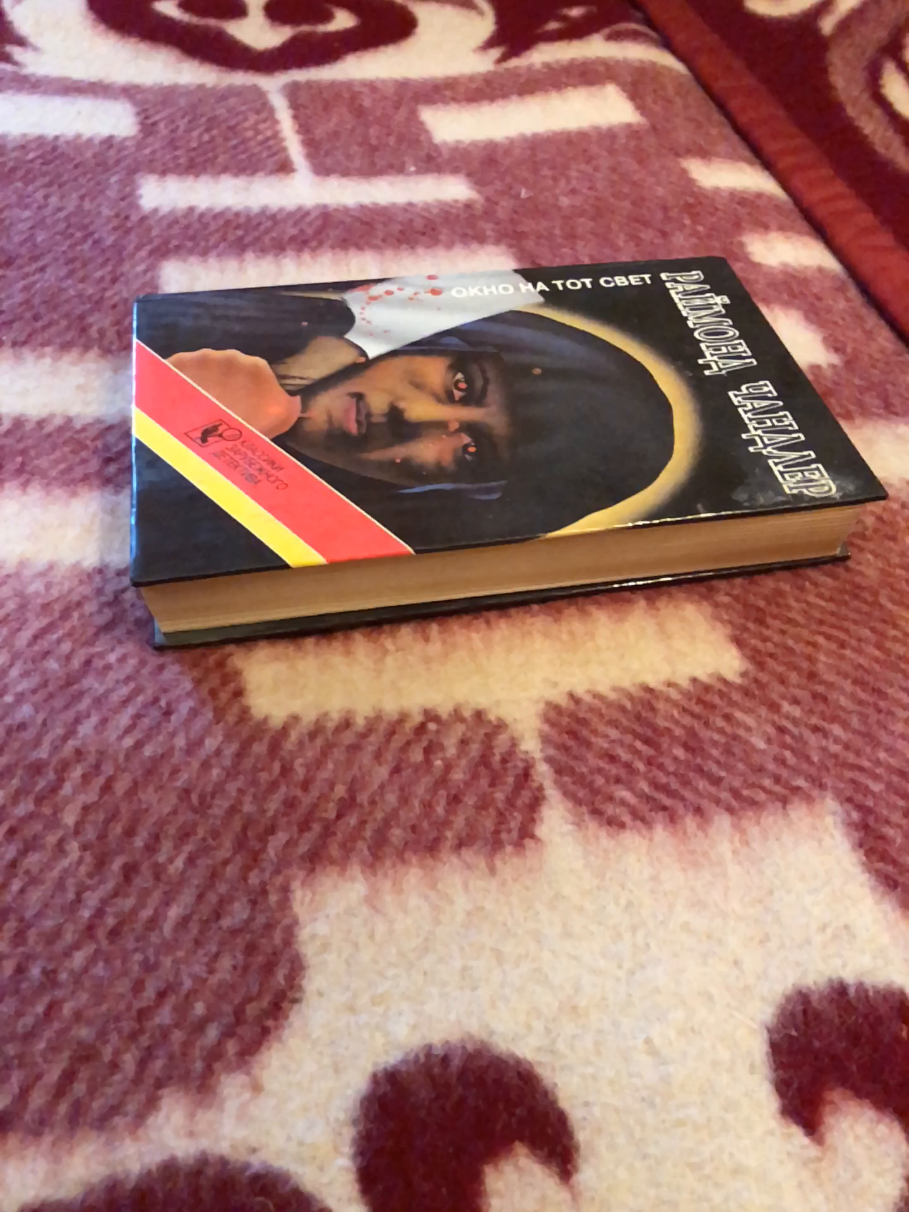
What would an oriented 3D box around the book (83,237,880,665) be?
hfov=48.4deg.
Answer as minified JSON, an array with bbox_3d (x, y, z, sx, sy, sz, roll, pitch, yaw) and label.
[{"bbox_3d":[0.000,-0.058,0.313,0.208,0.032,0.134,-7,50,-8],"label":"book"}]
